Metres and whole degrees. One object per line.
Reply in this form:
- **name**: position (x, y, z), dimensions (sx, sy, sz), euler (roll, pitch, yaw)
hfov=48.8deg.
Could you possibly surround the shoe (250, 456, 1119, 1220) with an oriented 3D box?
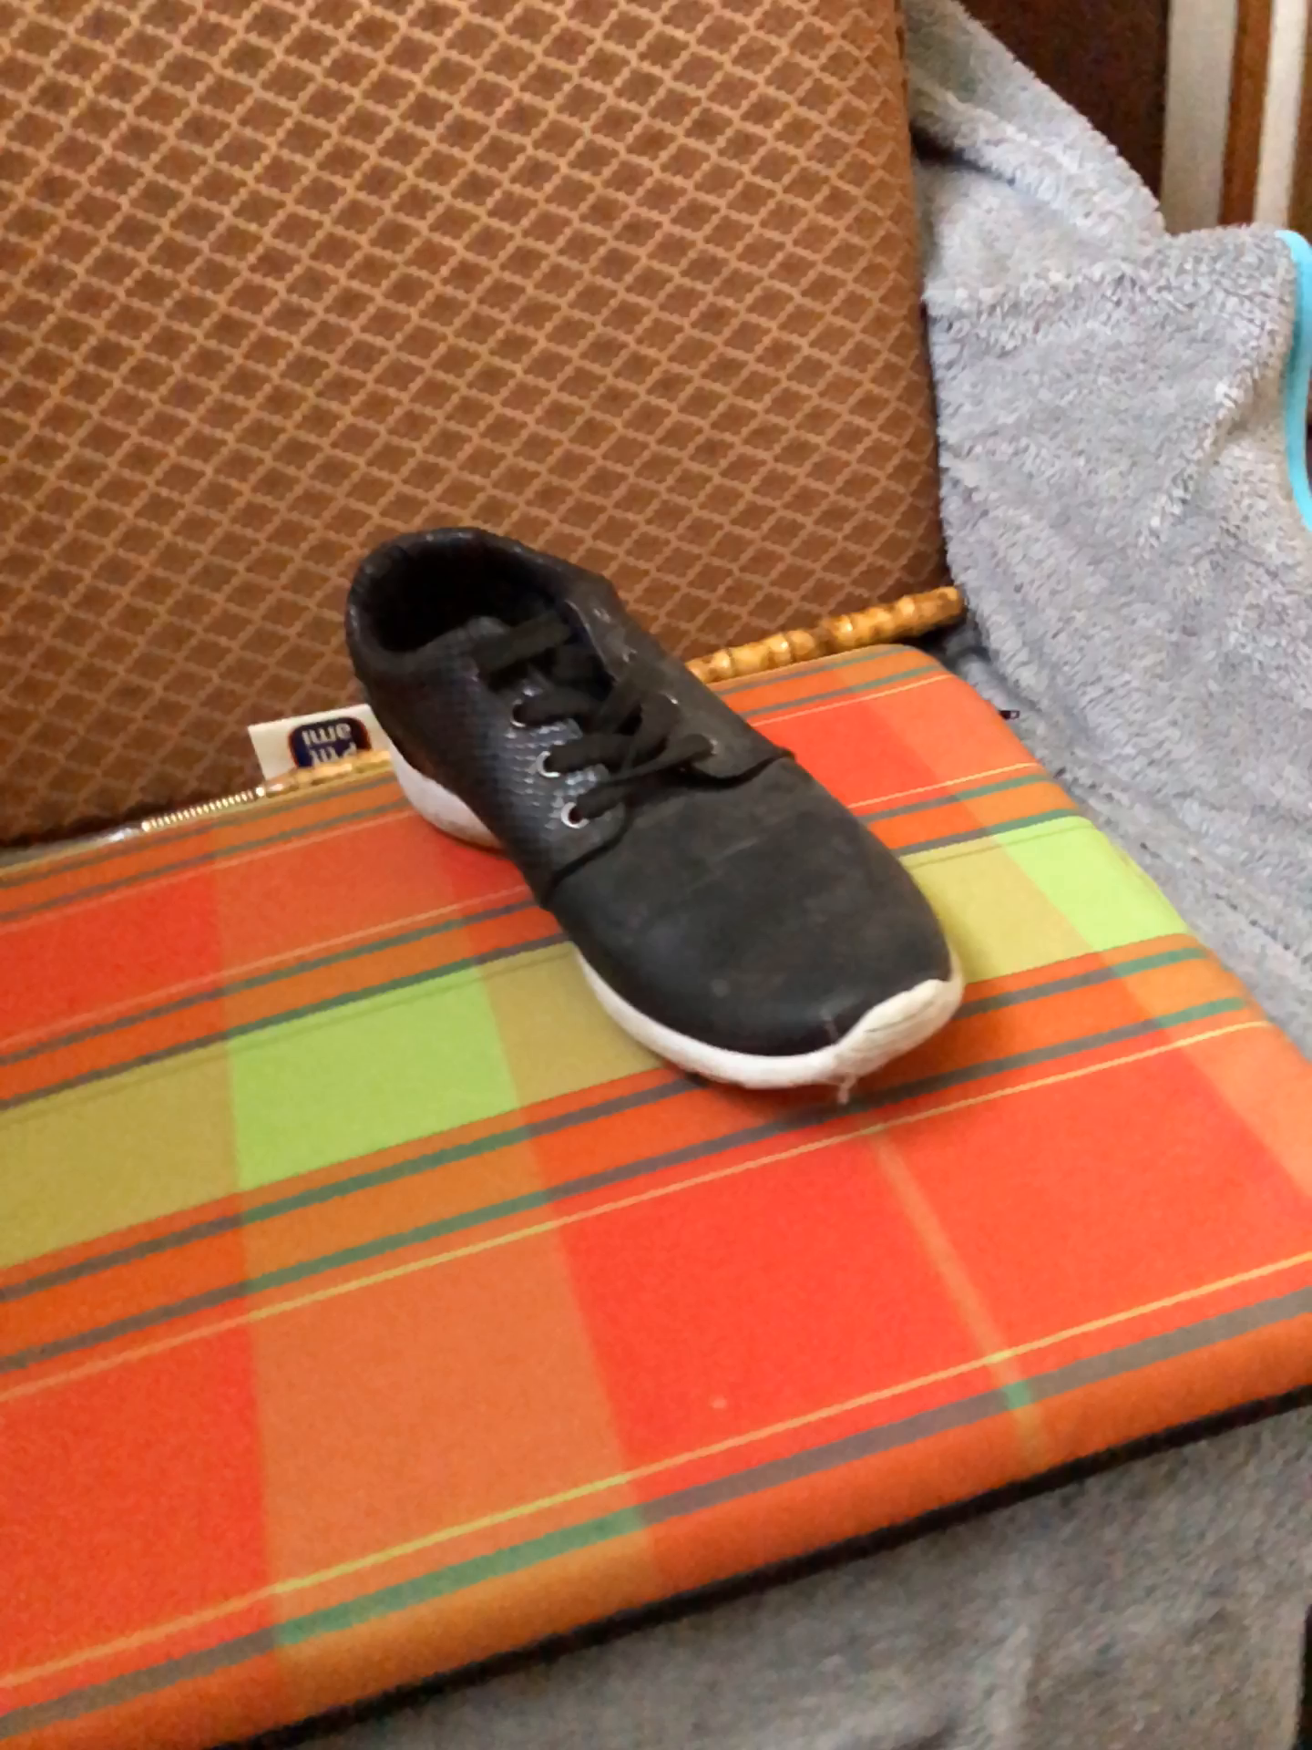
- **shoe**: position (-0.007, -0.034, 0.433), dimensions (0.110, 0.080, 0.267), euler (-31, 43, -21)
